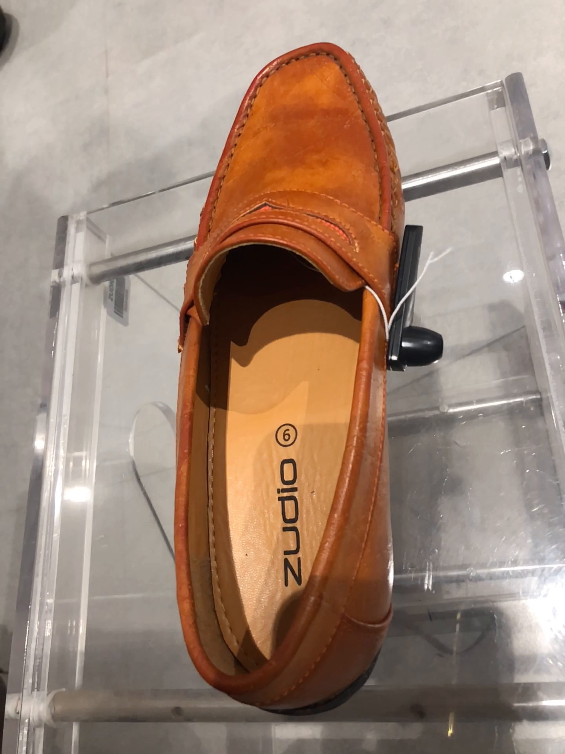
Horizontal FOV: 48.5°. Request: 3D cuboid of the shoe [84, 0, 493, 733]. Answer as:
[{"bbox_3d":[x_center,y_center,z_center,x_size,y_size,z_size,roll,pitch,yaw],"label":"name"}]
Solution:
[{"bbox_3d":[0.008,-0.028,0.261,0.110,0.090,0.291,-9,67,21],"label":"shoe"}]
